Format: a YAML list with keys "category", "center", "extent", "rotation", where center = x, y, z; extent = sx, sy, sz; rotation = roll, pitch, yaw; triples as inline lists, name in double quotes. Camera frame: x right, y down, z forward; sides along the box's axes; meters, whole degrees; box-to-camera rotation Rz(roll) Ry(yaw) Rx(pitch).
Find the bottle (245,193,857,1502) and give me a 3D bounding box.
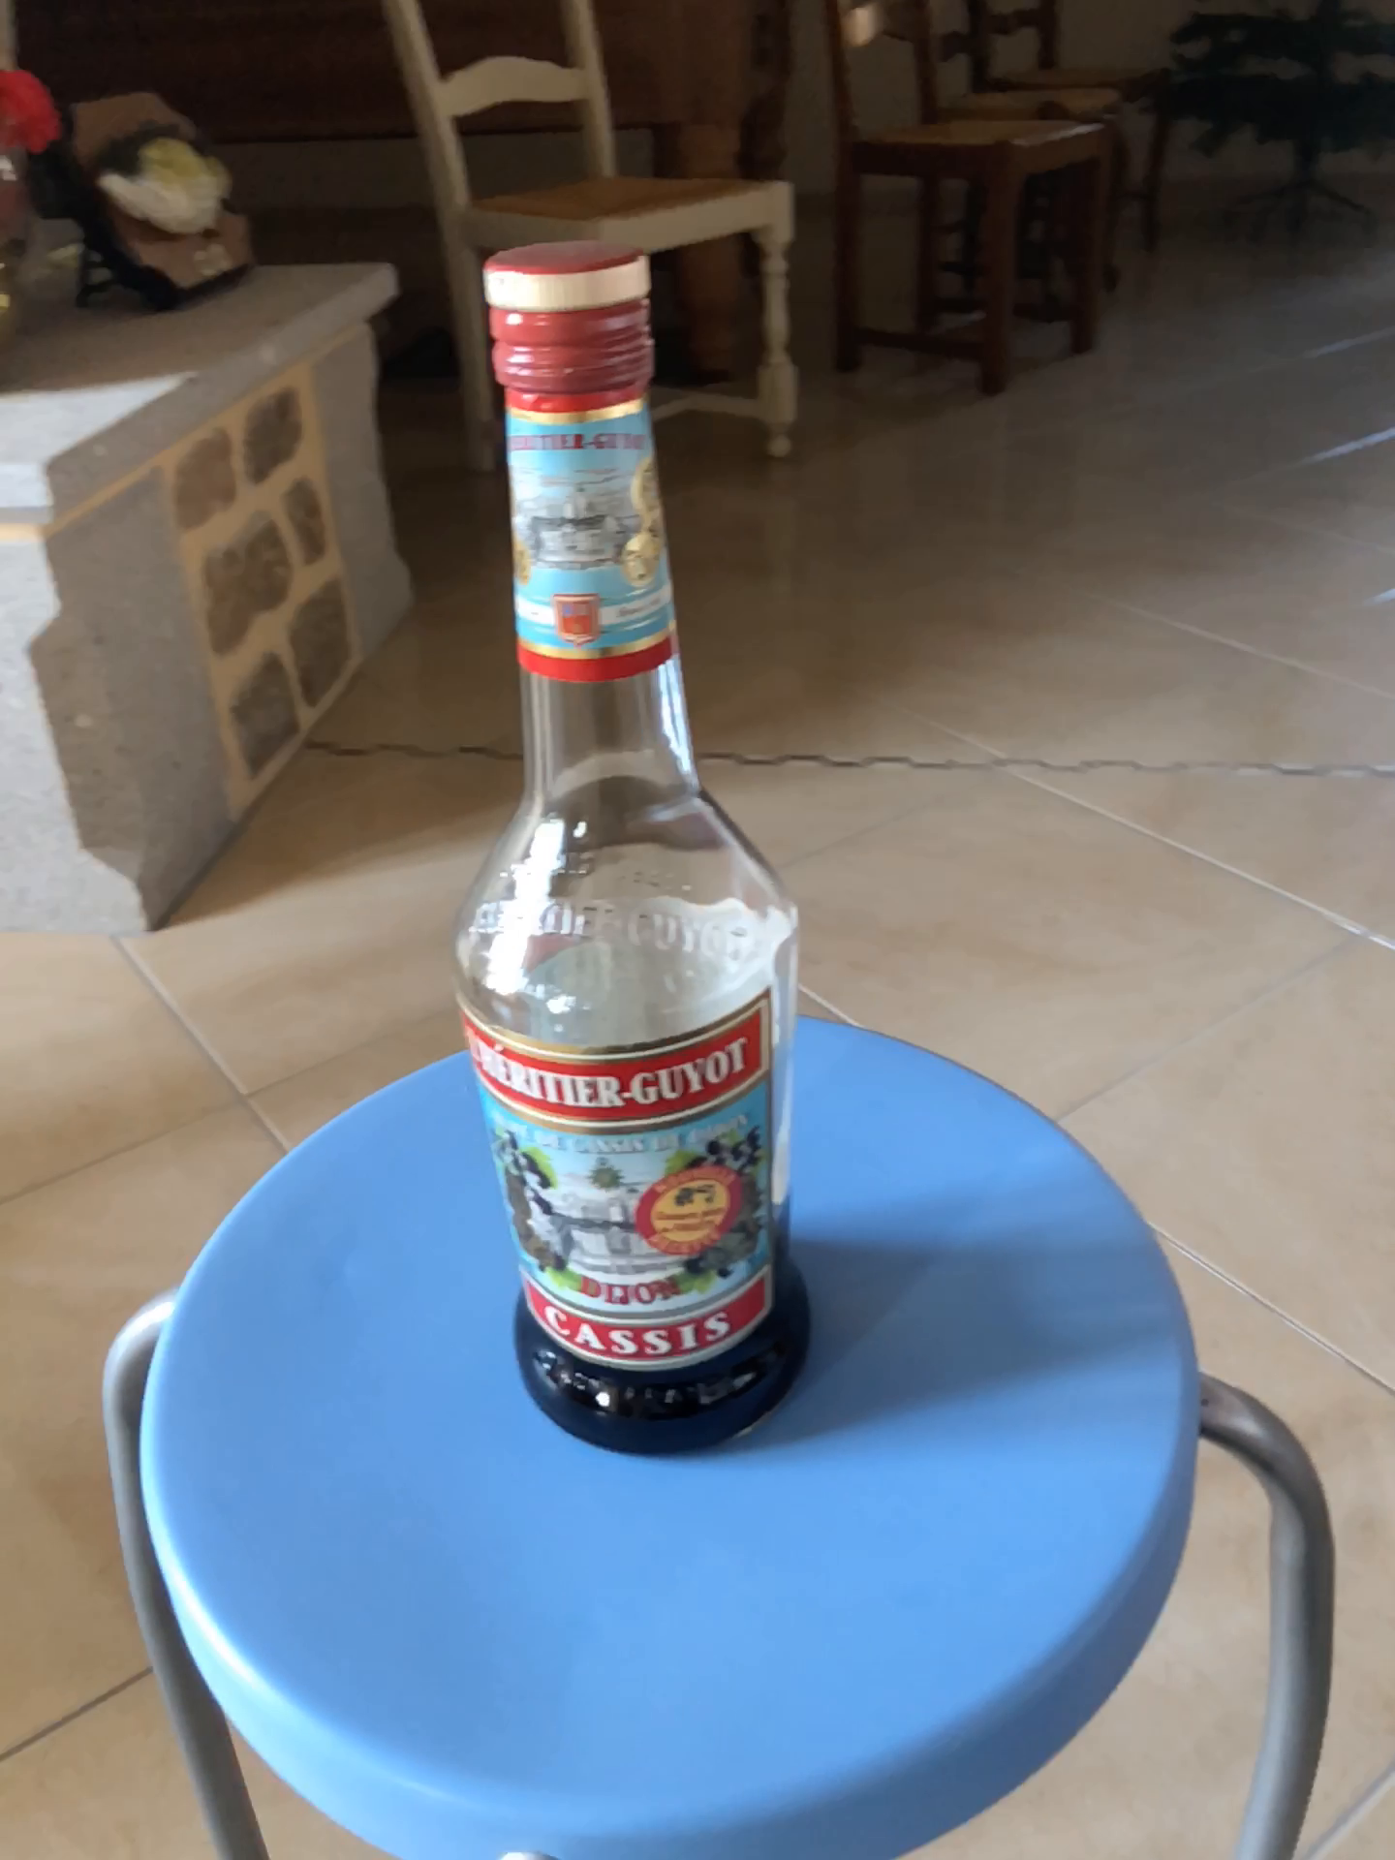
- category: "bottle"
  center: [-0.015, -0.006, 0.369]
  extent: [0.090, 0.298, 0.091]
  rotation: [-2, 32, 1]
